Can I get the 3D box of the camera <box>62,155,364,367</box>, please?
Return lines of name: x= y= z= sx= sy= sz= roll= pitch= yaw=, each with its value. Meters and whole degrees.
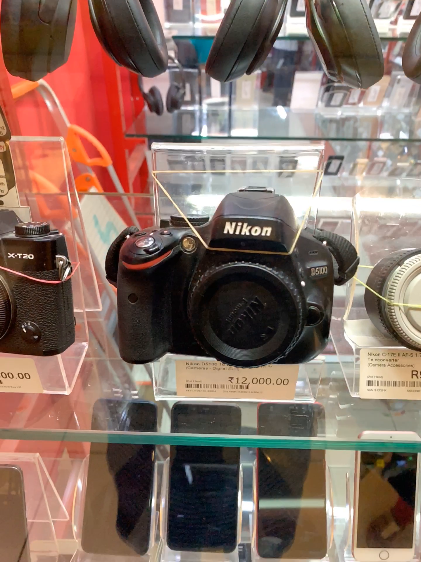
camera: x=0.002 y=-0.012 z=0.241 sx=0.130 sy=0.090 sz=0.070 roll=2 pitch=34 yaw=2
